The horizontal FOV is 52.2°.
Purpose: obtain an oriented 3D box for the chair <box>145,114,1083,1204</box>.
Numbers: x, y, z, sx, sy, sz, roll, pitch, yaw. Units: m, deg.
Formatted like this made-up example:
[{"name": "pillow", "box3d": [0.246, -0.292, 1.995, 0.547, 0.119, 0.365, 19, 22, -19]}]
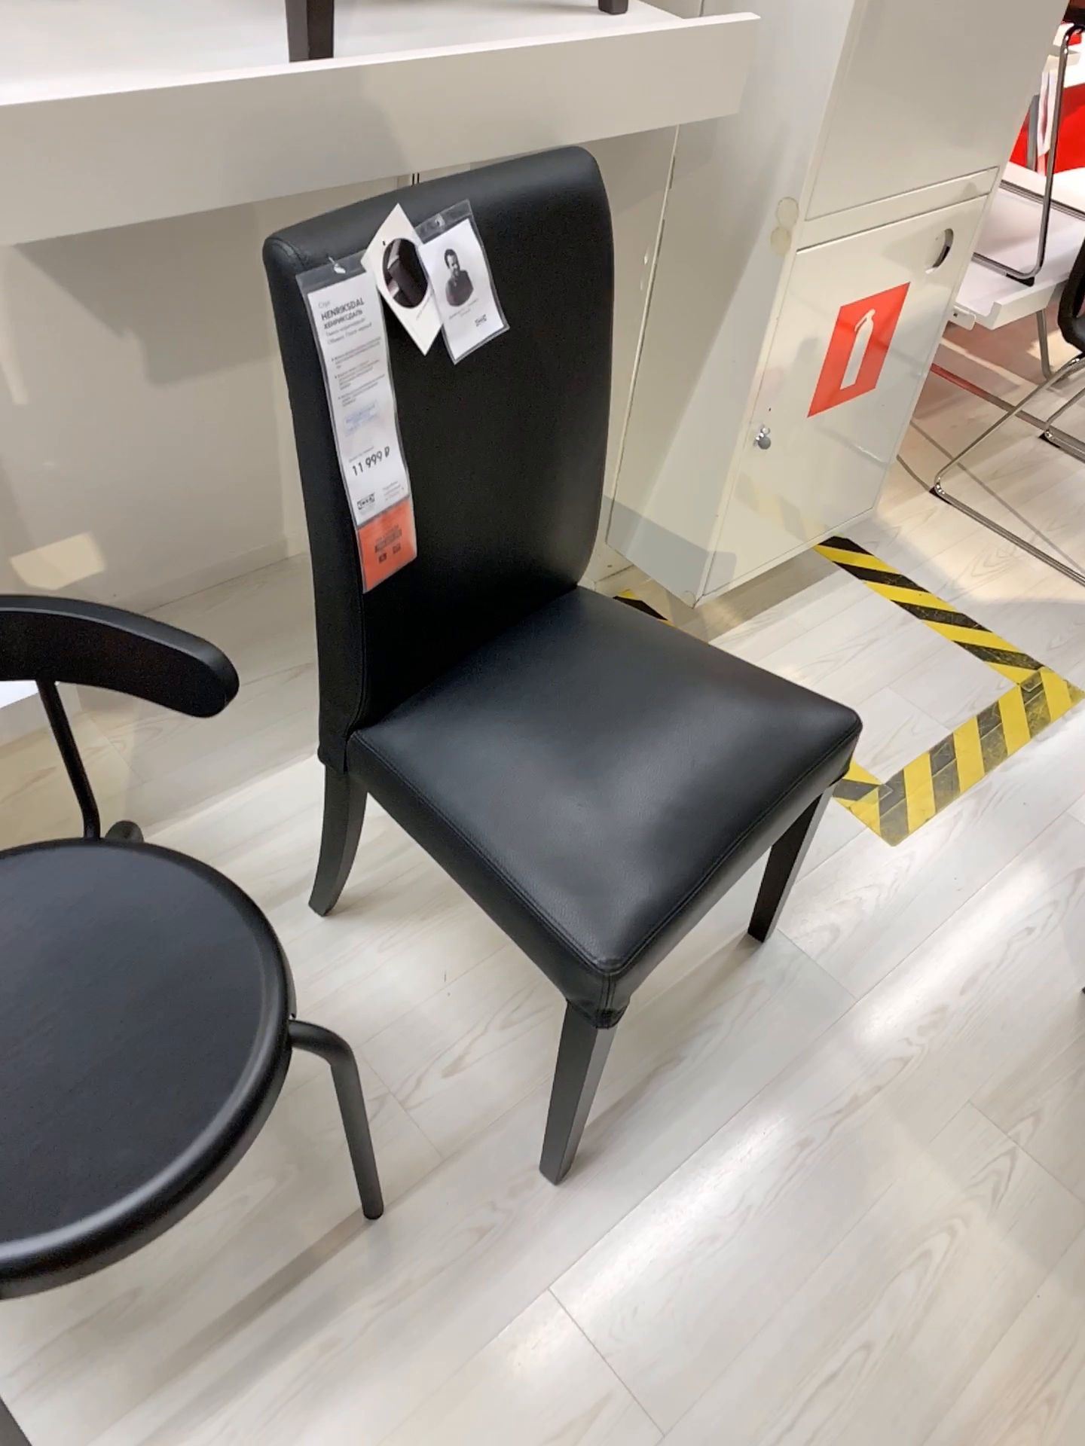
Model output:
[{"name": "chair", "box3d": [0.032, -0.053, 1.307, 0.600, 0.975, 0.583, 34, 49, 23]}]
